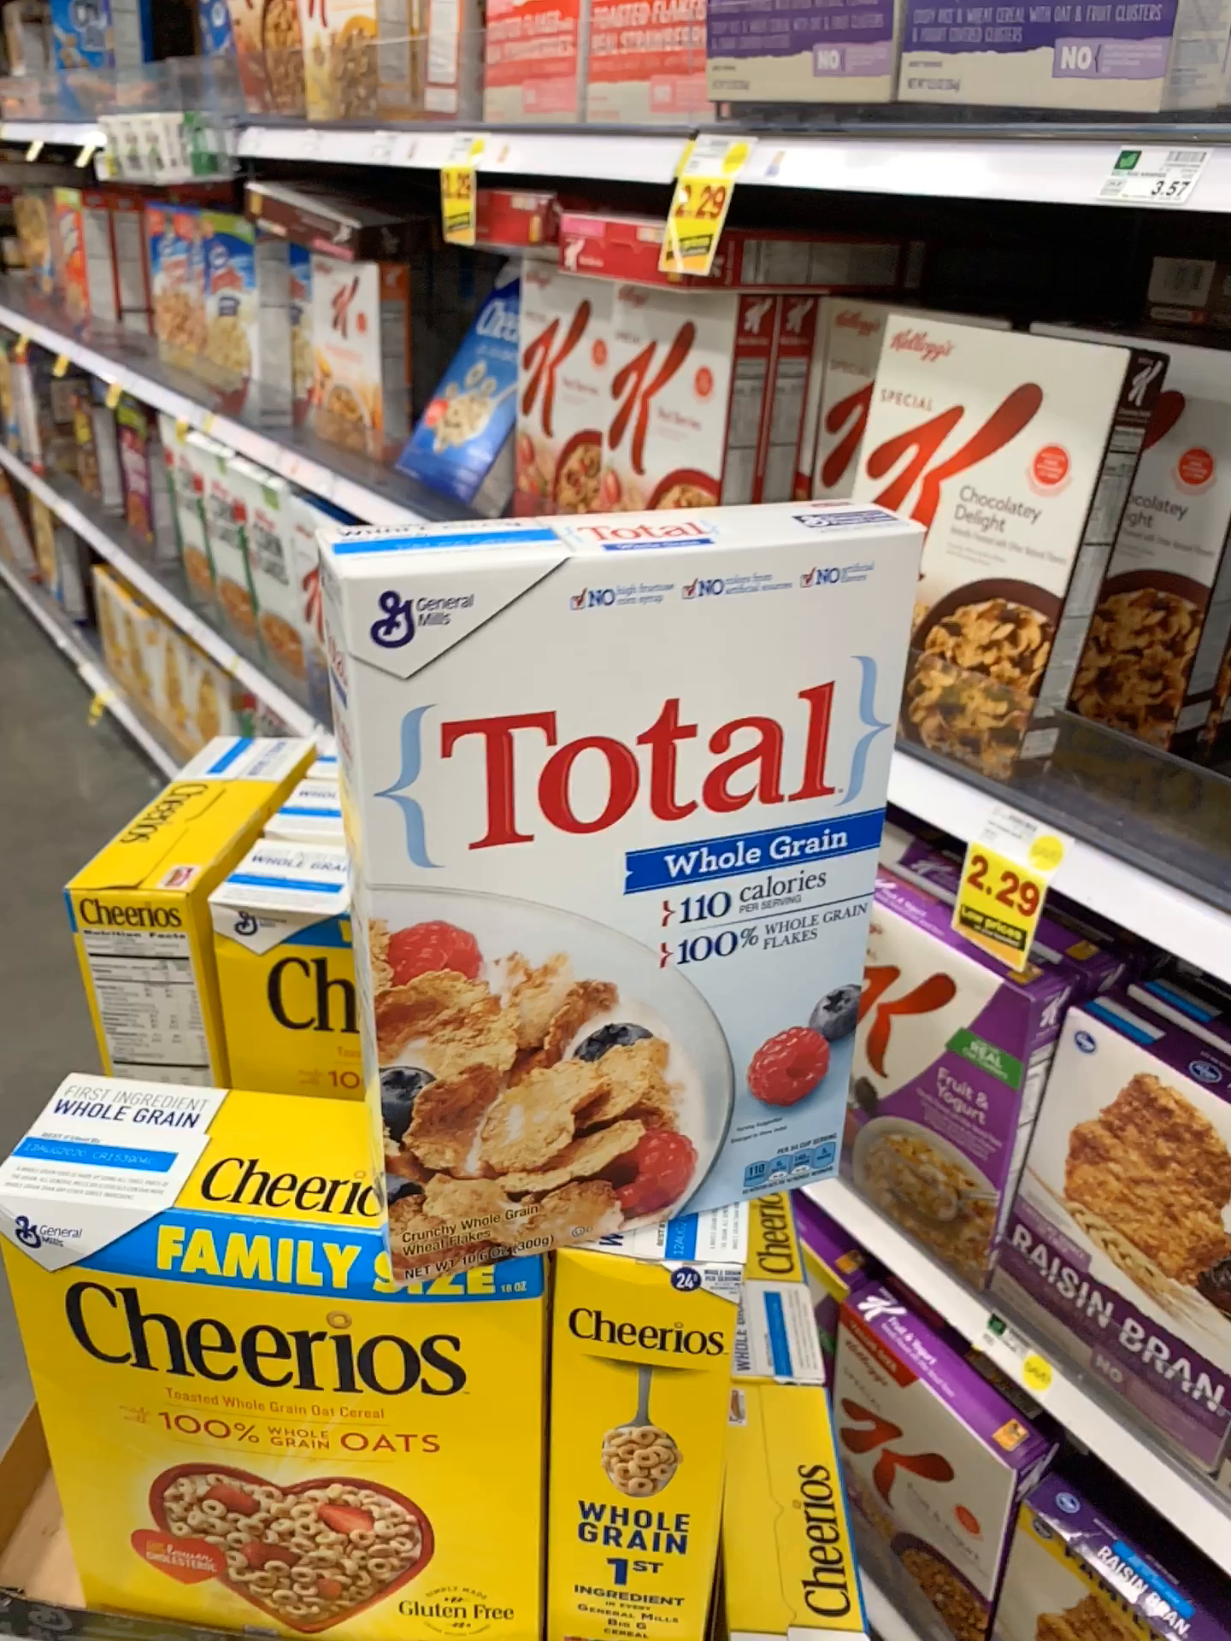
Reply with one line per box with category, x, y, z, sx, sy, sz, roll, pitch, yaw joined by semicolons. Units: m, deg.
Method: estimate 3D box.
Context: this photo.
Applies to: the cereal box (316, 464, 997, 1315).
cereal box;0.012;0.031;0.470;0.210;0.298;0.050;-8;29;-18
